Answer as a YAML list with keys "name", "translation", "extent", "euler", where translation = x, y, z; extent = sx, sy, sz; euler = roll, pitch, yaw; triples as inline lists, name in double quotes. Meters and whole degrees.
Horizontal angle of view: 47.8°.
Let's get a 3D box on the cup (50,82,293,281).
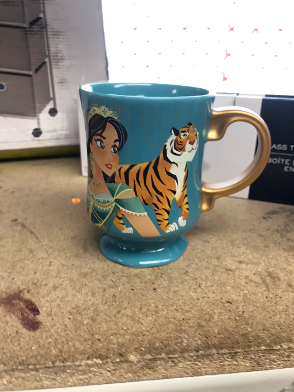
- name: "cup"
  translation: [0.017, -0.020, 0.257]
  extent: [0.140, 0.120, 0.099]
  euler: [3, 23, 6]
